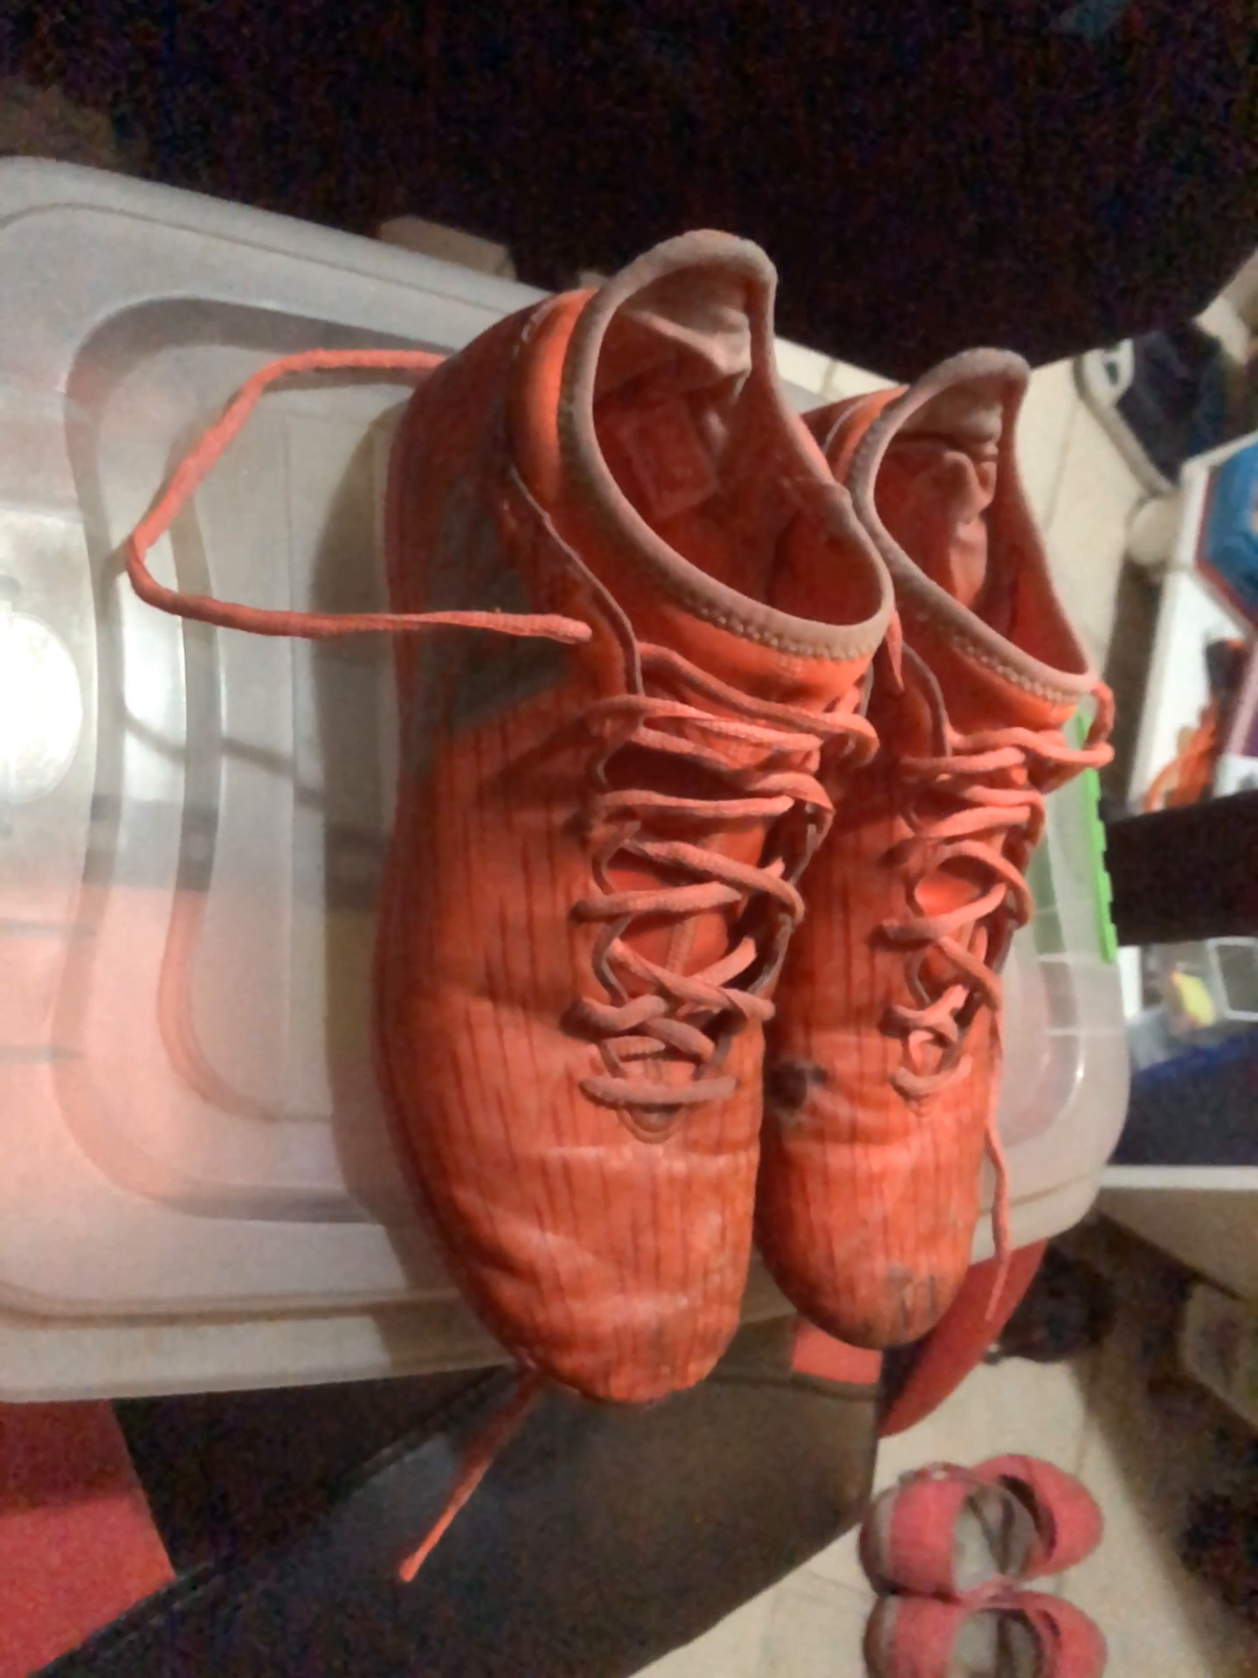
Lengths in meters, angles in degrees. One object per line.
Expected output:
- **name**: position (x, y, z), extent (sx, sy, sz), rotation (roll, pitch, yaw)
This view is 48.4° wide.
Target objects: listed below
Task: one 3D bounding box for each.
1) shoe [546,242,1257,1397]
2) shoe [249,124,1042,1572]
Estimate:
- **shoe**: position (0.063, 0.000, 0.365), extent (0.090, 0.129, 0.240), rotation (0, 81, -38)
- **shoe**: position (-0.007, 0.004, 0.307), extent (0.090, 0.129, 0.240), rotation (0, 81, -38)
